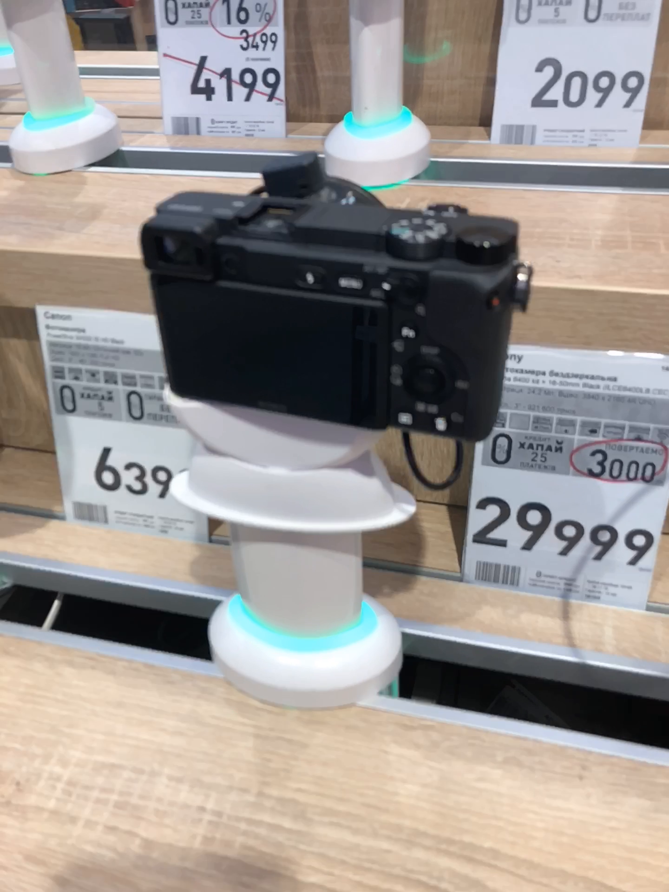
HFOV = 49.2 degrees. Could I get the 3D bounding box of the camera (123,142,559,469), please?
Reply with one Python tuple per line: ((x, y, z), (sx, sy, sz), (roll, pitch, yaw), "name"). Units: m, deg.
((0.009, -0.059, 0.266), (0.122, 0.069, 0.098), (10, 37, 17), "camera")
